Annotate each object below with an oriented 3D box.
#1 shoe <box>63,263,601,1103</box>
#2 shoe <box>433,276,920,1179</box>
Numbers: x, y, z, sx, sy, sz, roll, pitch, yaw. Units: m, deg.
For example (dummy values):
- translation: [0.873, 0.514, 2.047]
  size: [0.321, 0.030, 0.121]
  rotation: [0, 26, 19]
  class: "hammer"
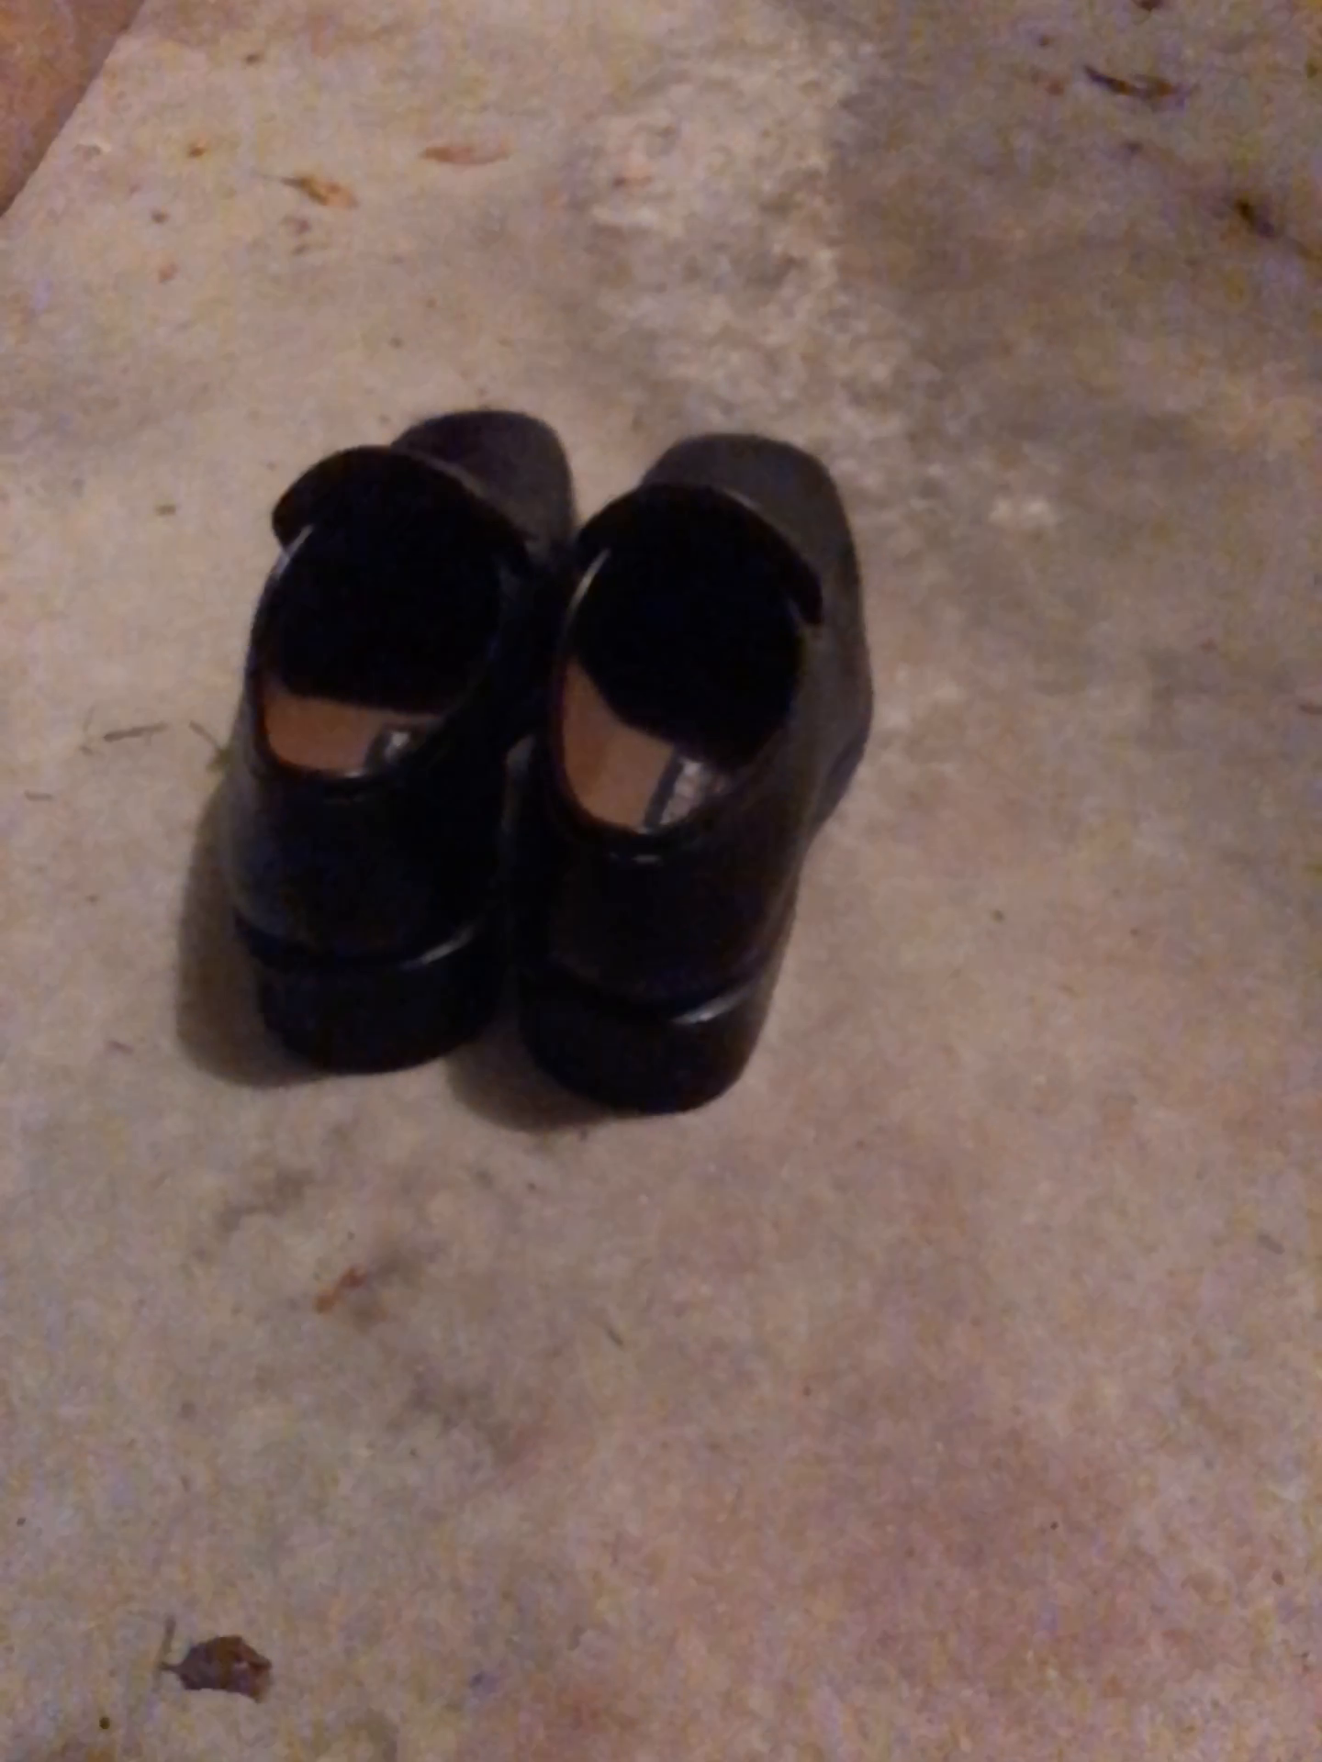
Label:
- translation: [-0.080, -0.076, 0.466]
  size: [0.104, 0.112, 0.269]
  rotation: [2, 48, 1]
  class: "shoe"
- translation: [0.018, -0.065, 0.459]
  size: [0.101, 0.112, 0.279]
  rotation: [6, 48, 5]
  class: "shoe"
